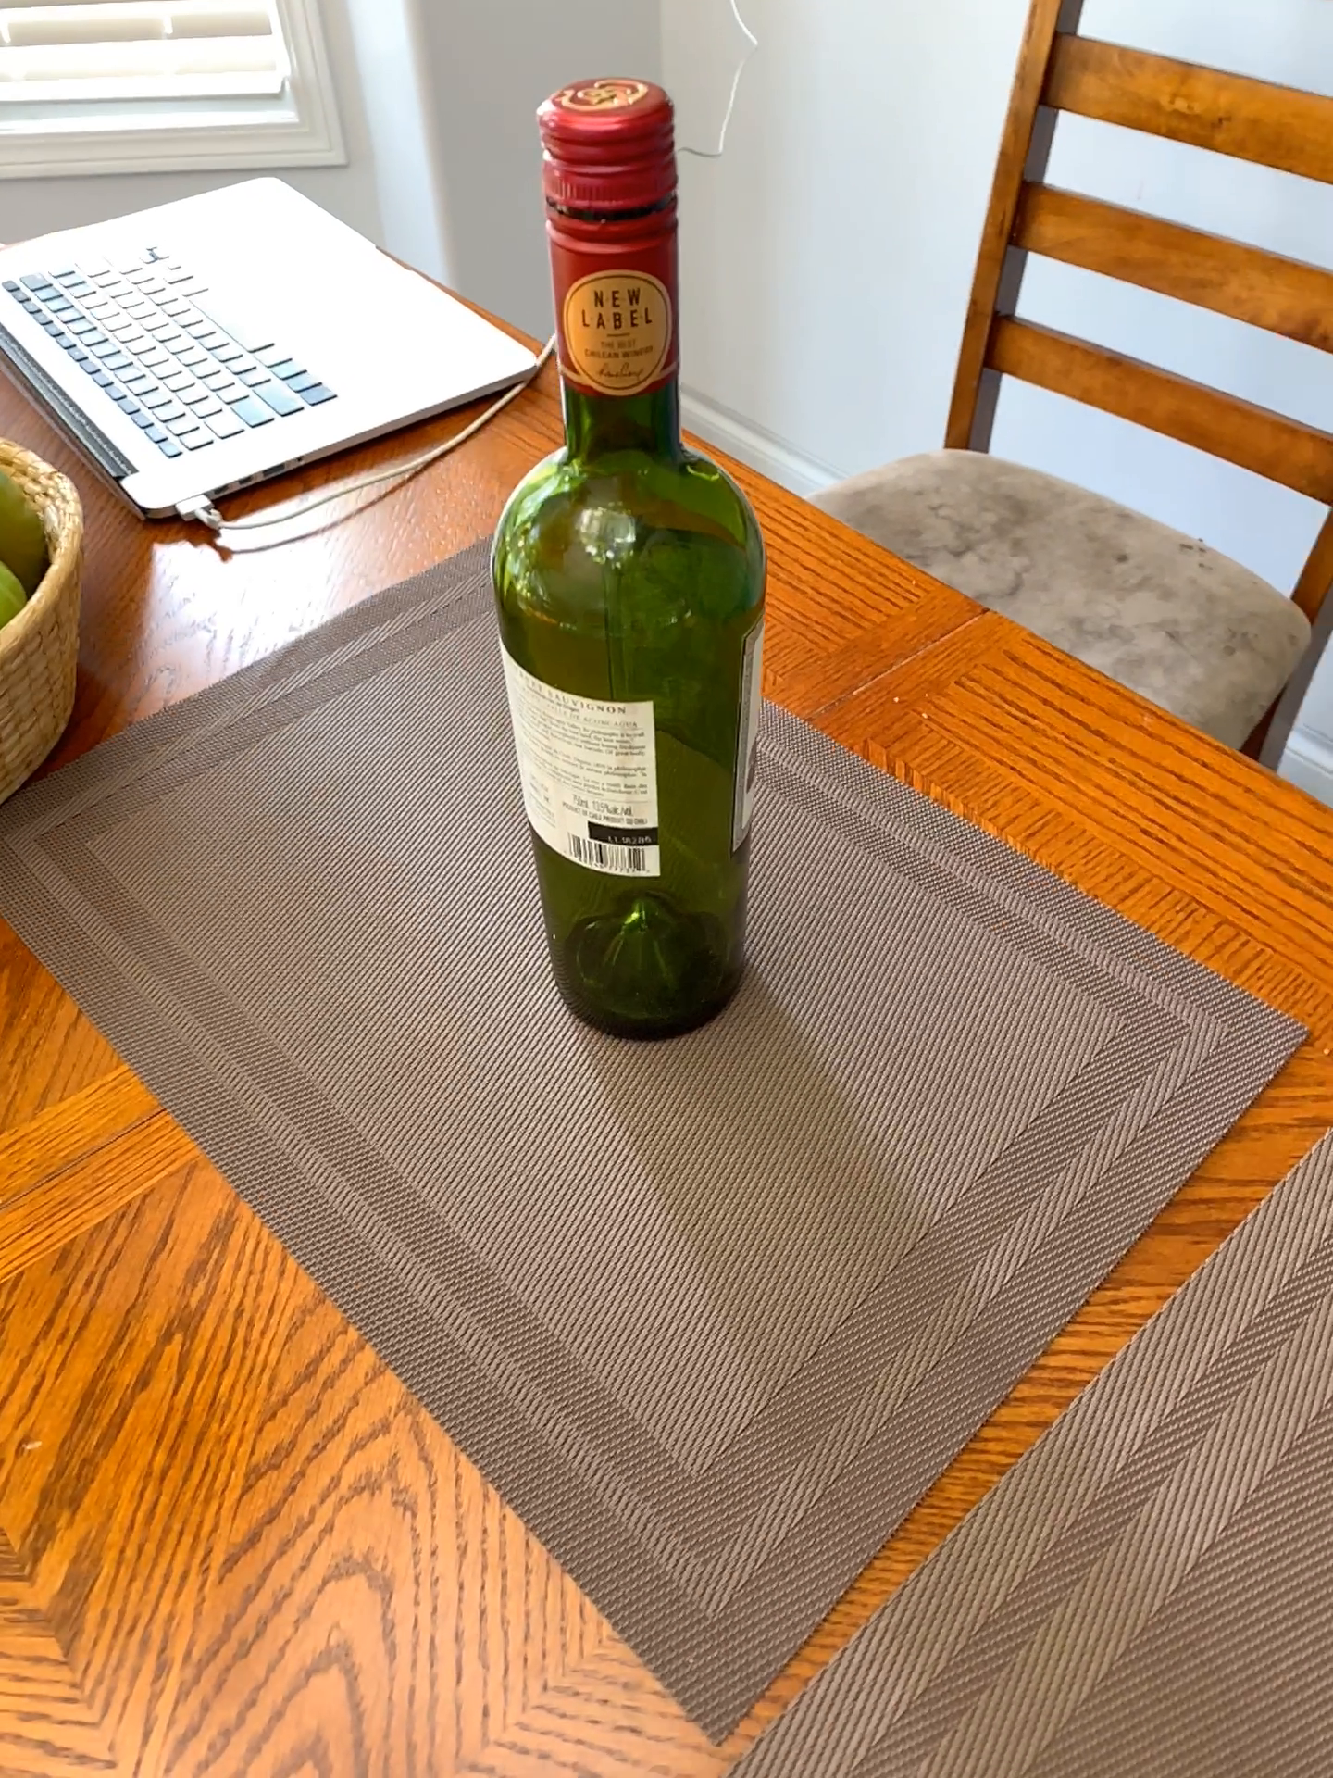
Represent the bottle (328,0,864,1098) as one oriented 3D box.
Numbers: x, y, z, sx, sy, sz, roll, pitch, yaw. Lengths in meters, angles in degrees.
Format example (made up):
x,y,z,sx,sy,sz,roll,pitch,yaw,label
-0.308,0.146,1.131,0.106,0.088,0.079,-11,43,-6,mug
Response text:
x,y,z,sx,sy,sz,roll,pitch,yaw,label
-0.013,-0.075,0.412,0.080,0.307,0.090,-31,53,-24,bottle
